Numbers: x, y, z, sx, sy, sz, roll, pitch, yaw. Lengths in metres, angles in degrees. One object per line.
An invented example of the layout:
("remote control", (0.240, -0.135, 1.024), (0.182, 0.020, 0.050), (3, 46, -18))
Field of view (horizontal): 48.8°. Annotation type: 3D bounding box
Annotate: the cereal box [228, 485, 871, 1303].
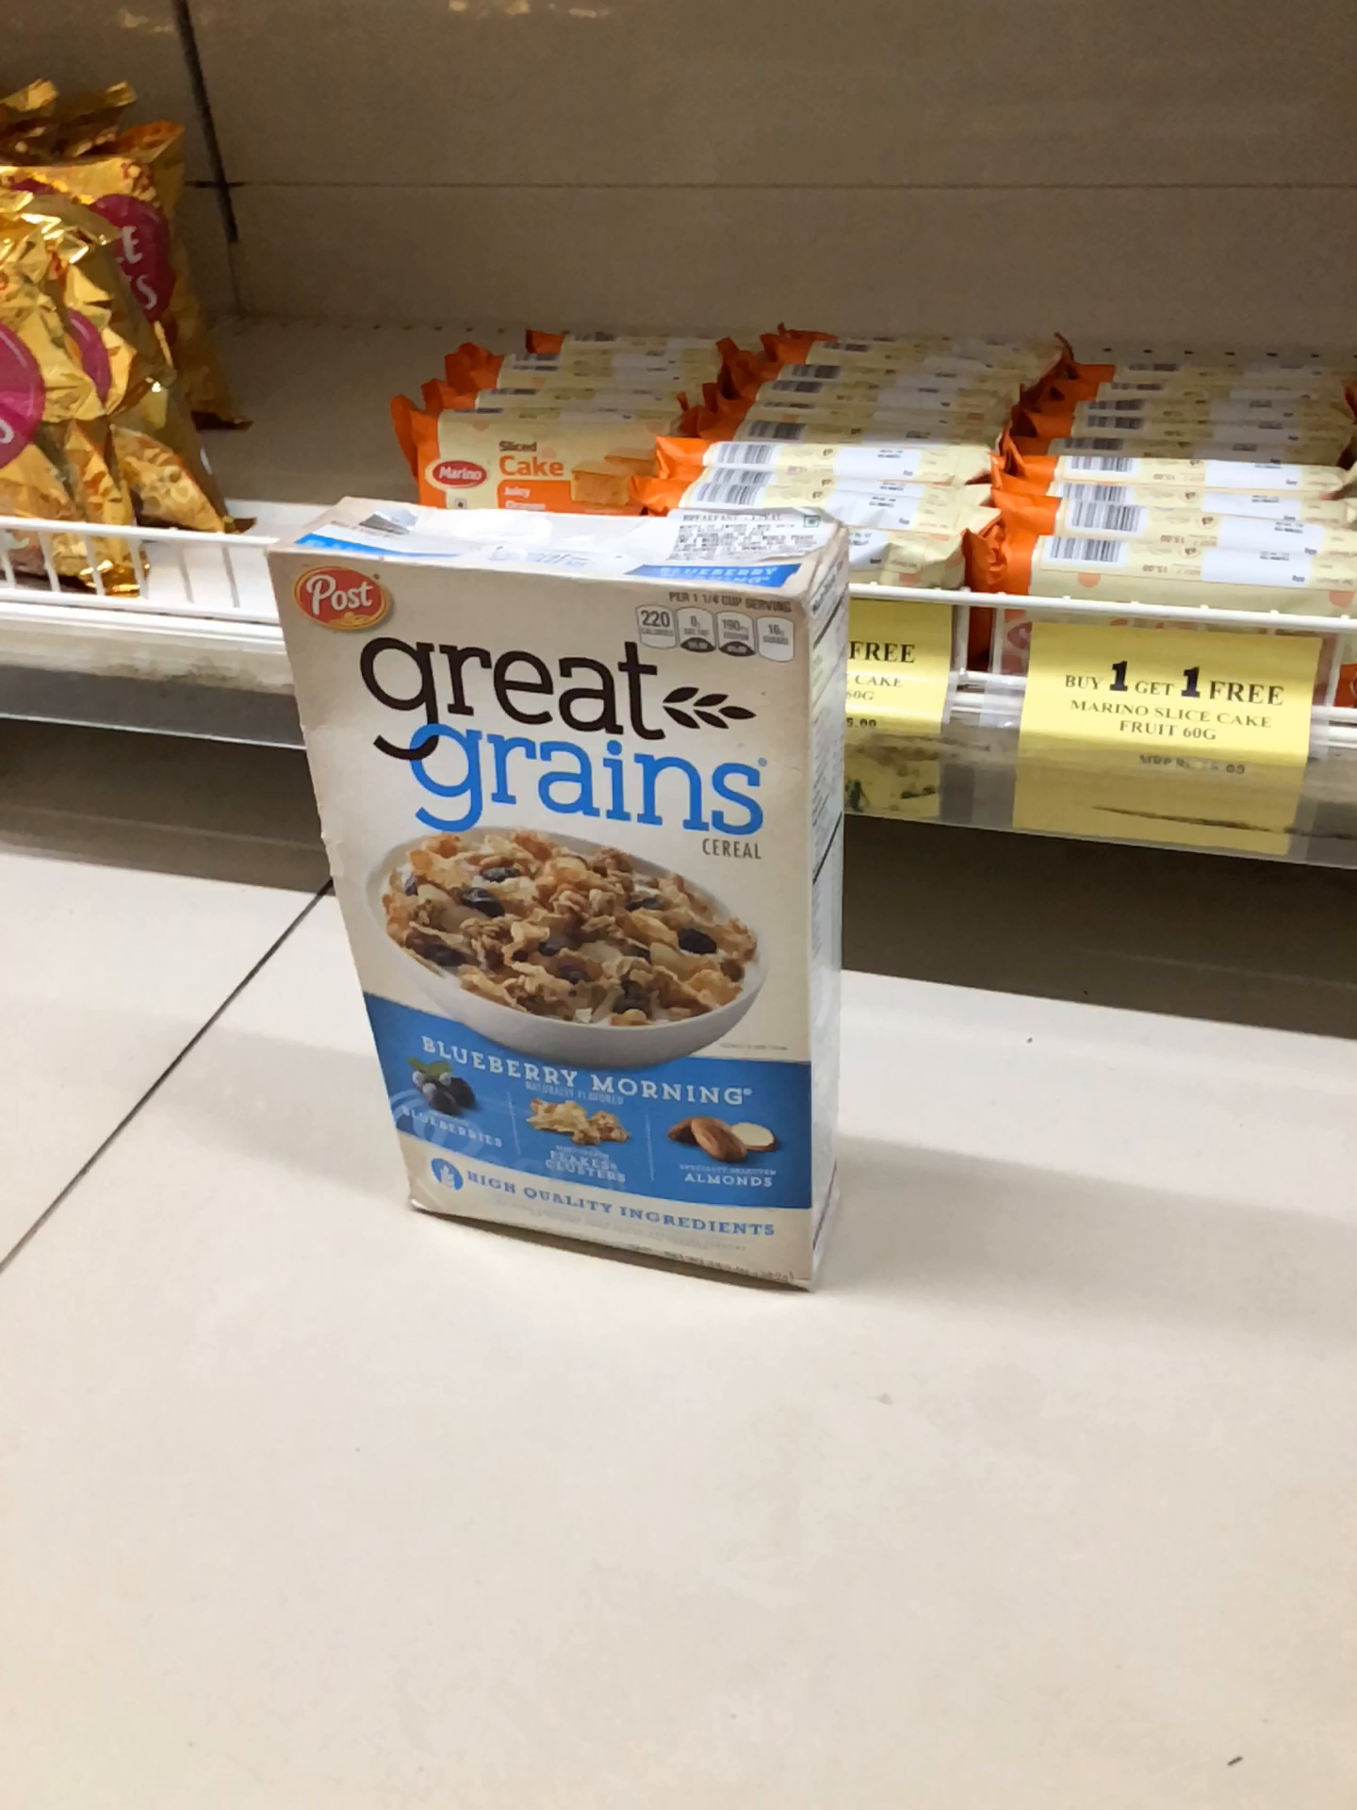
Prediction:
("cereal box", (-0.029, 0.003, 0.491), (0.170, 0.258, 0.060), (8, 36, 16))
